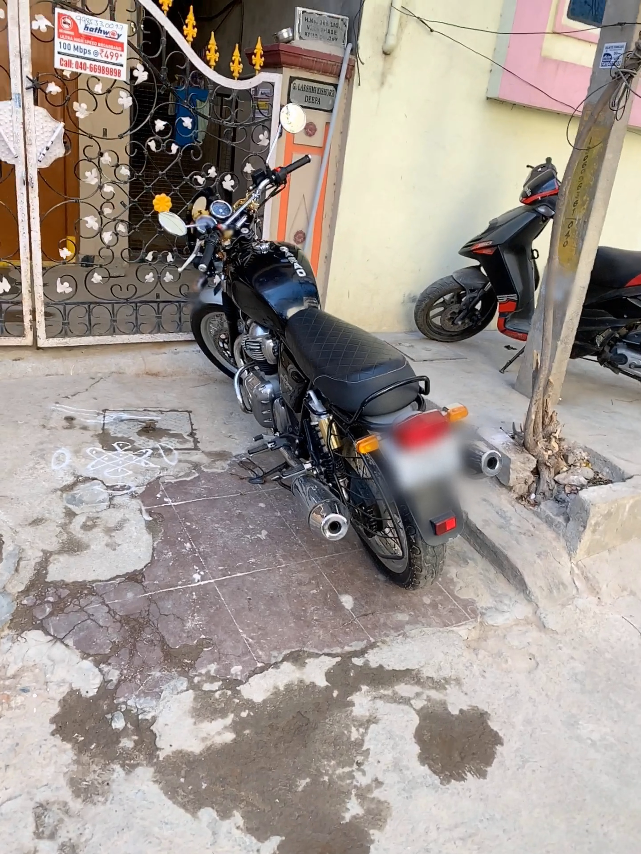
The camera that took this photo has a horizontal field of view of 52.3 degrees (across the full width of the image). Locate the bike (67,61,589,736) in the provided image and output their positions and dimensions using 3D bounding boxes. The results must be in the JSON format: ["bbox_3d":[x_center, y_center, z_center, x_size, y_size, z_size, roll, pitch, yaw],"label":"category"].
[{"bbox_3d":[-0.250,-0.326,2.436,0.792,1.522,1.909,-8,32,-33],"label":"bike"}]
